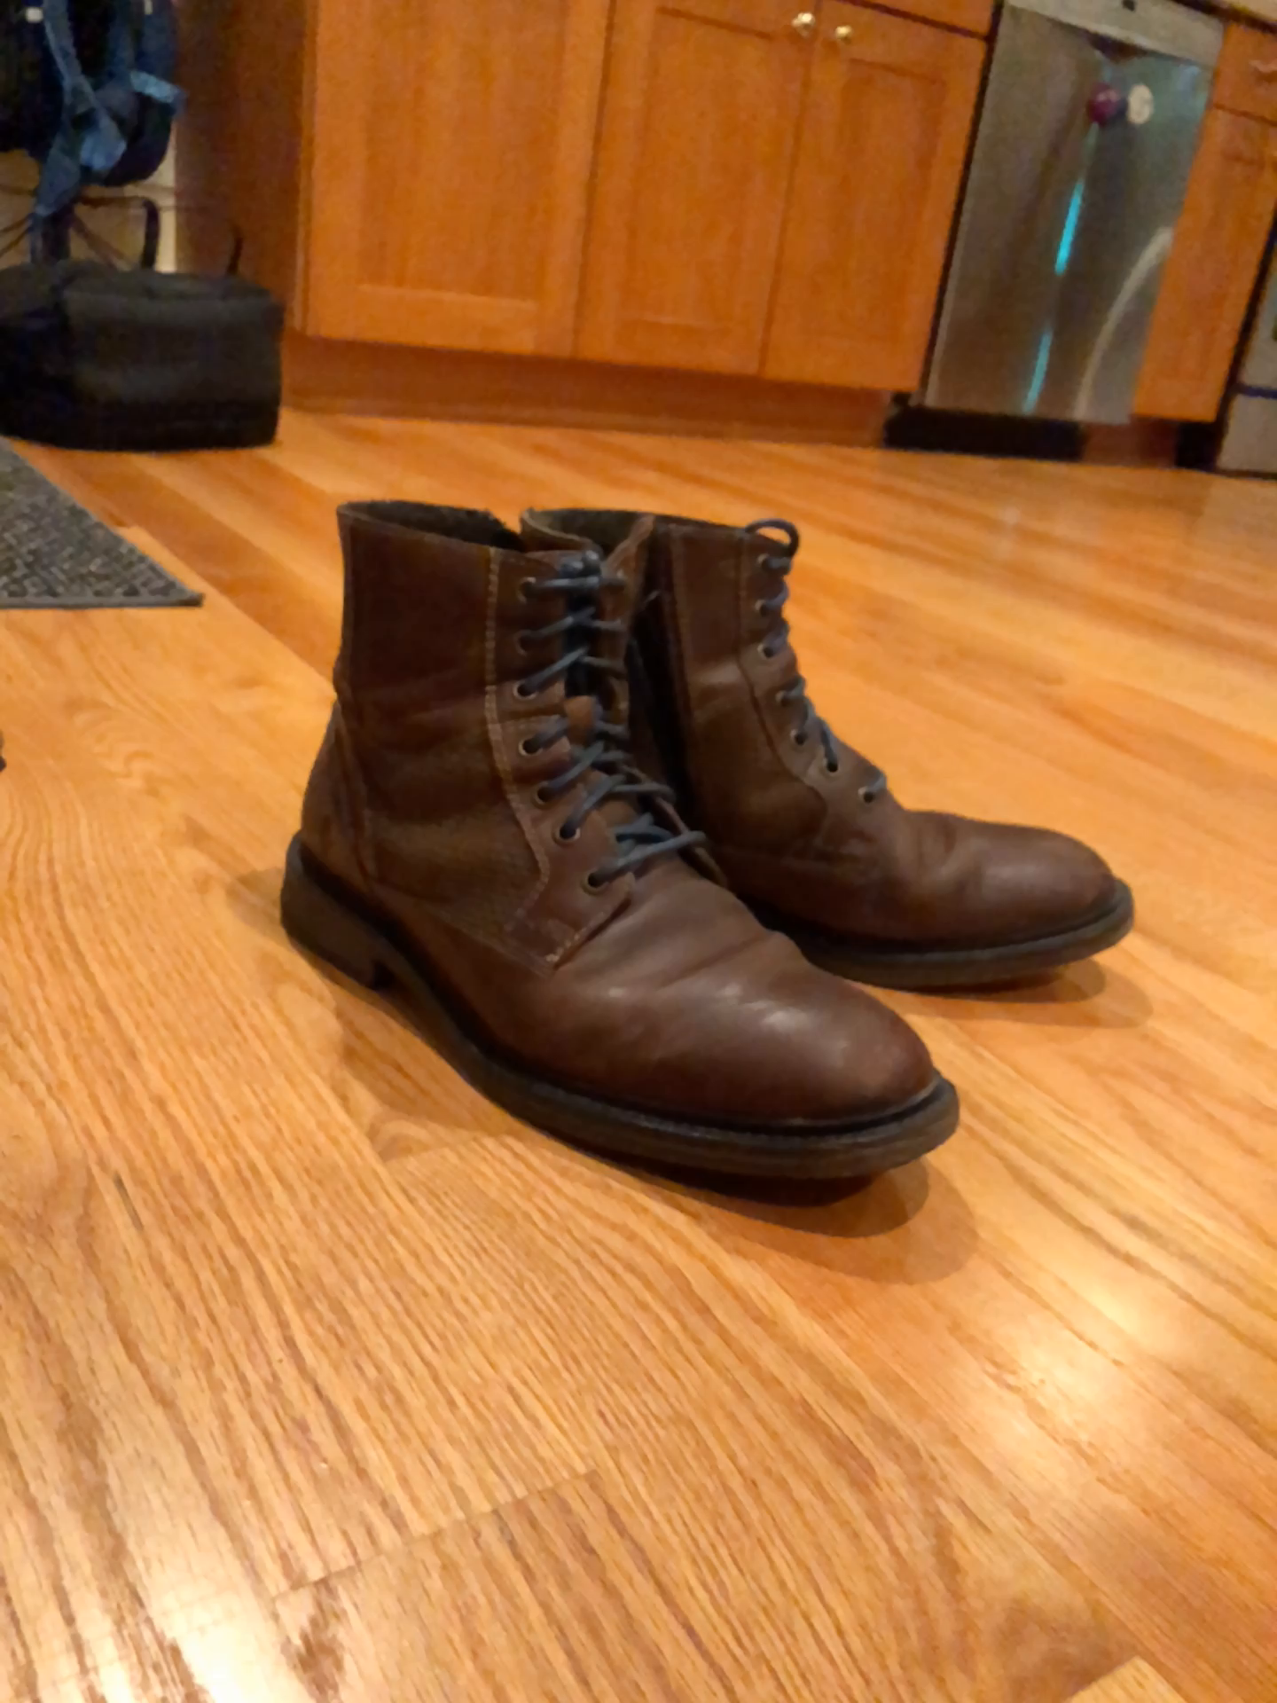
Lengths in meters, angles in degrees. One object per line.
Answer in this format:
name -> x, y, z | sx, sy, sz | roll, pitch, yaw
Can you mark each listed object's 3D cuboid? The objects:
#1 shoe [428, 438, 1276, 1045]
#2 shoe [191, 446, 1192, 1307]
shoe -> 0.082, -0.051, 0.581 | 0.303, 0.176, 0.129 | 8, 22, 0
shoe -> -0.009, -0.021, 0.473 | 0.310, 0.168, 0.113 | 24, 27, 34
